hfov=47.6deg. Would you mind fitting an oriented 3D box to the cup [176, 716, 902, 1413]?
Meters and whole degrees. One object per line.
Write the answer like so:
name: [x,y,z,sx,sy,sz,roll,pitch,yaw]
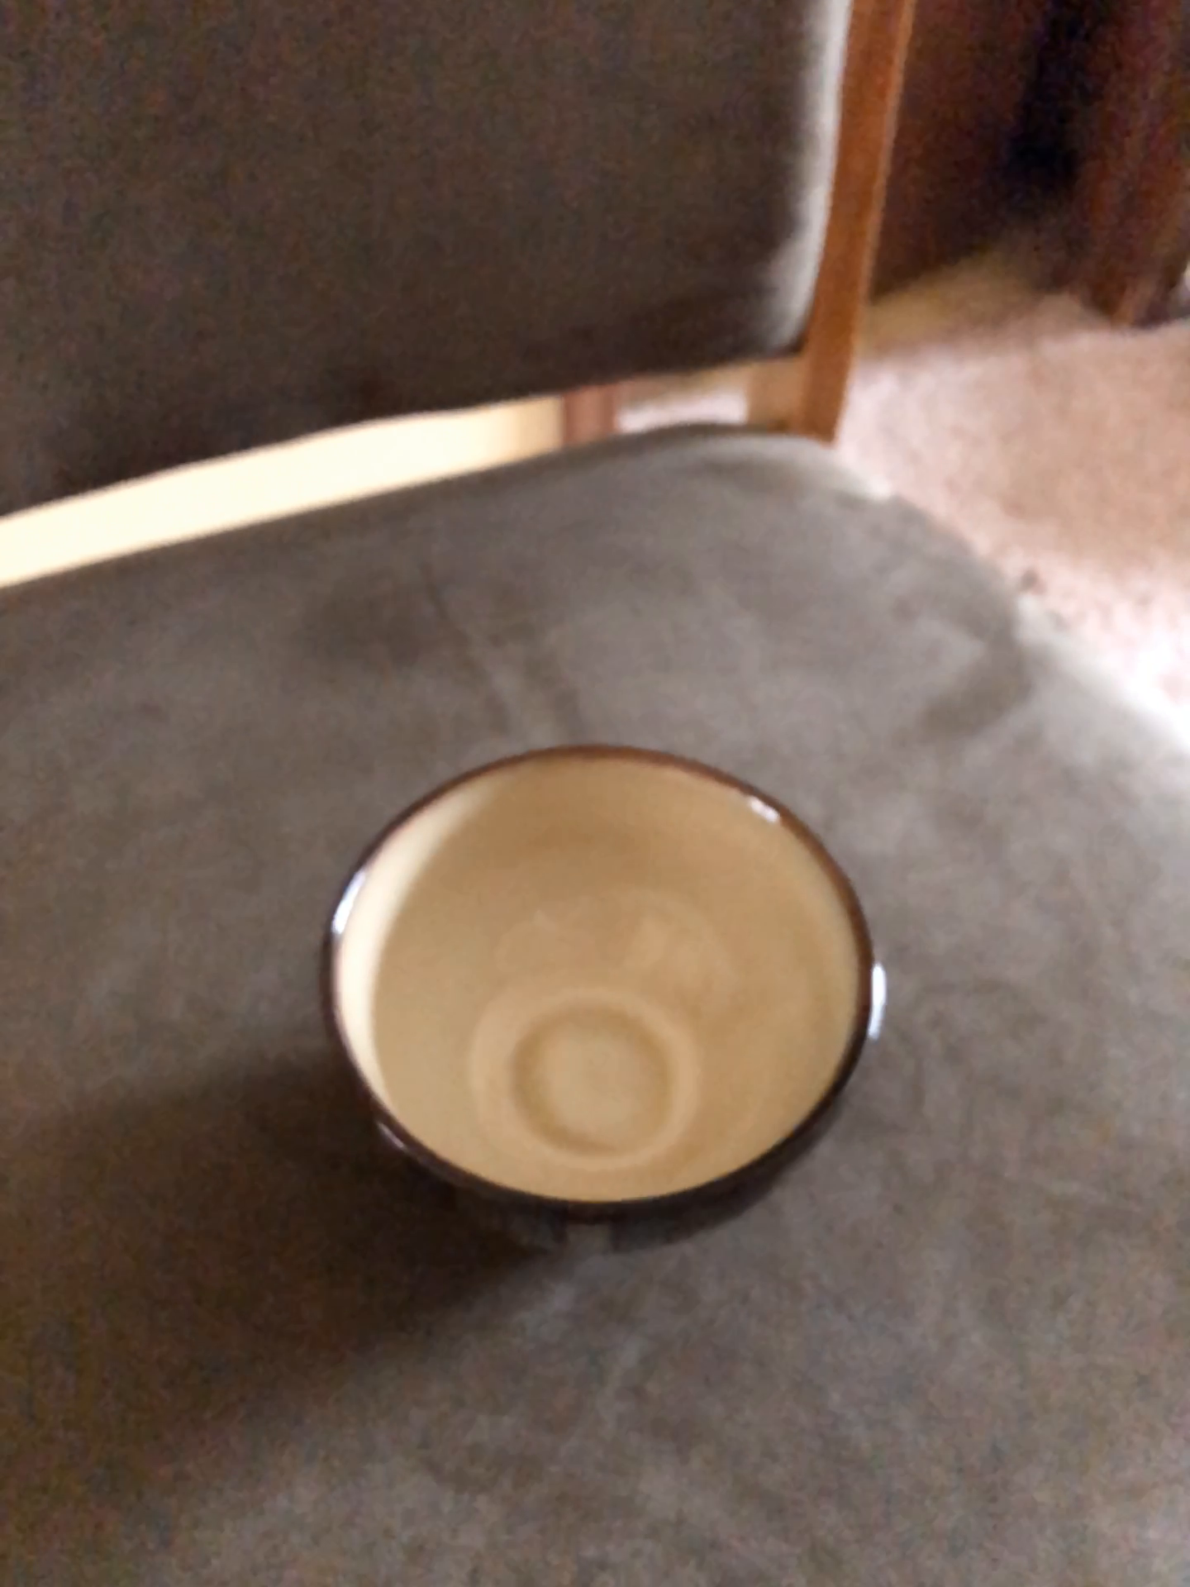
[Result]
cup: [-0.004,0.049,0.277,0.114,0.044,0.109,2,49,-2]
